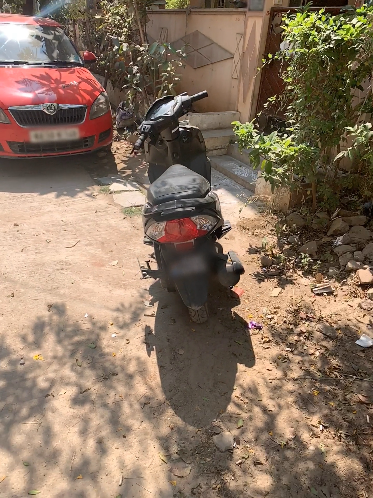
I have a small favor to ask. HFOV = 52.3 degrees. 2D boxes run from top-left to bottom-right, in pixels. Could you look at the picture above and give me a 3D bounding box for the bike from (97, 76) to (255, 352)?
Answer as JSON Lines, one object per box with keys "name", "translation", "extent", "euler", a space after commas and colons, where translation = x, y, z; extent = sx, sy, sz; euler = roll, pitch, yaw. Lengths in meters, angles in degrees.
{"name": "bike", "translation": [-0.212, -0.345, 2.431], "extent": [0.624, 1.175, 1.535], "euler": [-2, 30, -10]}
